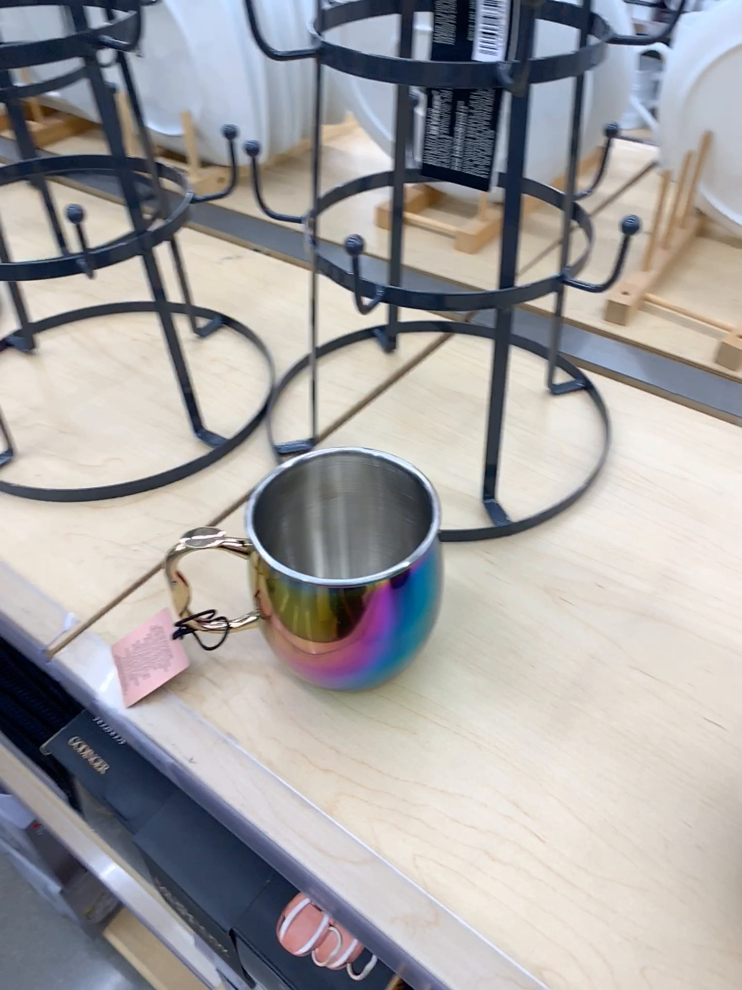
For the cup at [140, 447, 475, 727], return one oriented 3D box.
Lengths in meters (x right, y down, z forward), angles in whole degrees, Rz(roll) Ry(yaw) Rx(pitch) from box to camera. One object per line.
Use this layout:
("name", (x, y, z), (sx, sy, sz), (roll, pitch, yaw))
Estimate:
("cup", (-0.026, 0.043, 0.357), (0.130, 0.089, 0.085), (-4, 45, -1))
